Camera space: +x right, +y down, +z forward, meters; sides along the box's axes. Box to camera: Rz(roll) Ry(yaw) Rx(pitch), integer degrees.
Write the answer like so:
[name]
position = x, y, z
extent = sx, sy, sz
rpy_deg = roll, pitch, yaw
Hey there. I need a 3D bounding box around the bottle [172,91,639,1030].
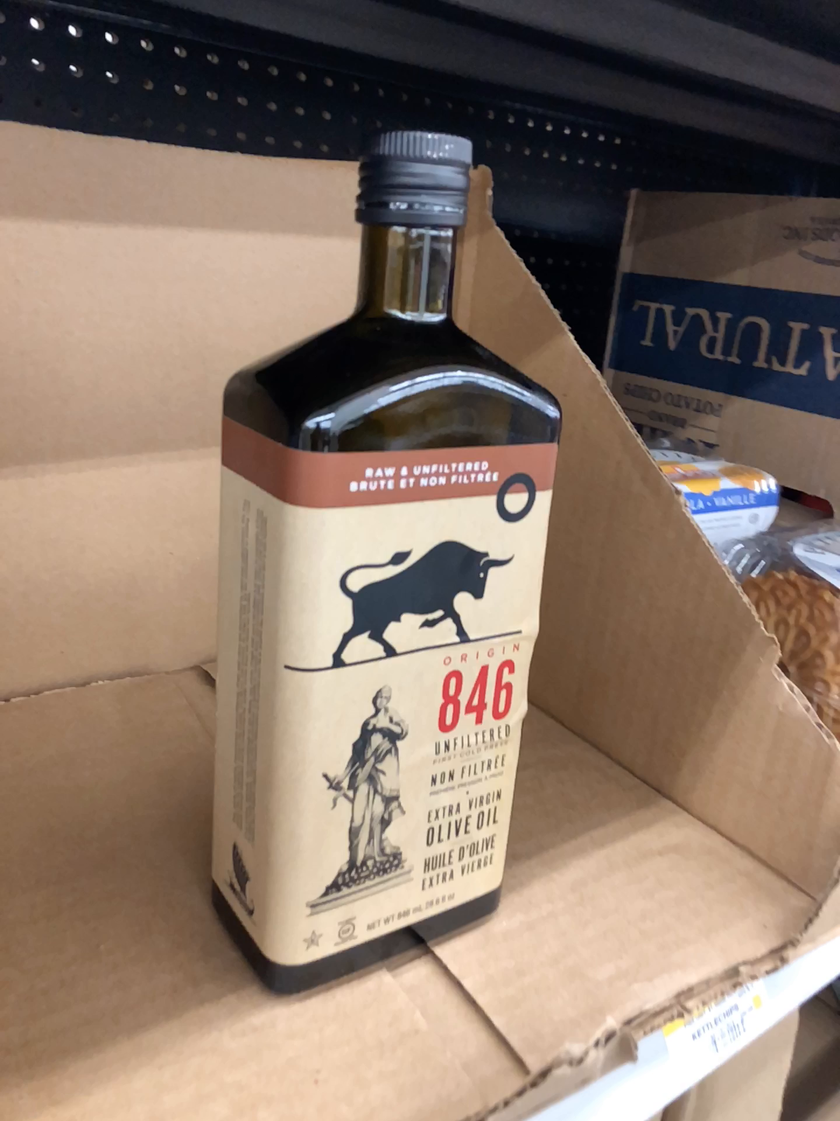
[bottle]
position = -0.013, 0.004, 0.282
extent = 0.100, 0.249, 0.060
rpy_deg = -7, 23, -35
